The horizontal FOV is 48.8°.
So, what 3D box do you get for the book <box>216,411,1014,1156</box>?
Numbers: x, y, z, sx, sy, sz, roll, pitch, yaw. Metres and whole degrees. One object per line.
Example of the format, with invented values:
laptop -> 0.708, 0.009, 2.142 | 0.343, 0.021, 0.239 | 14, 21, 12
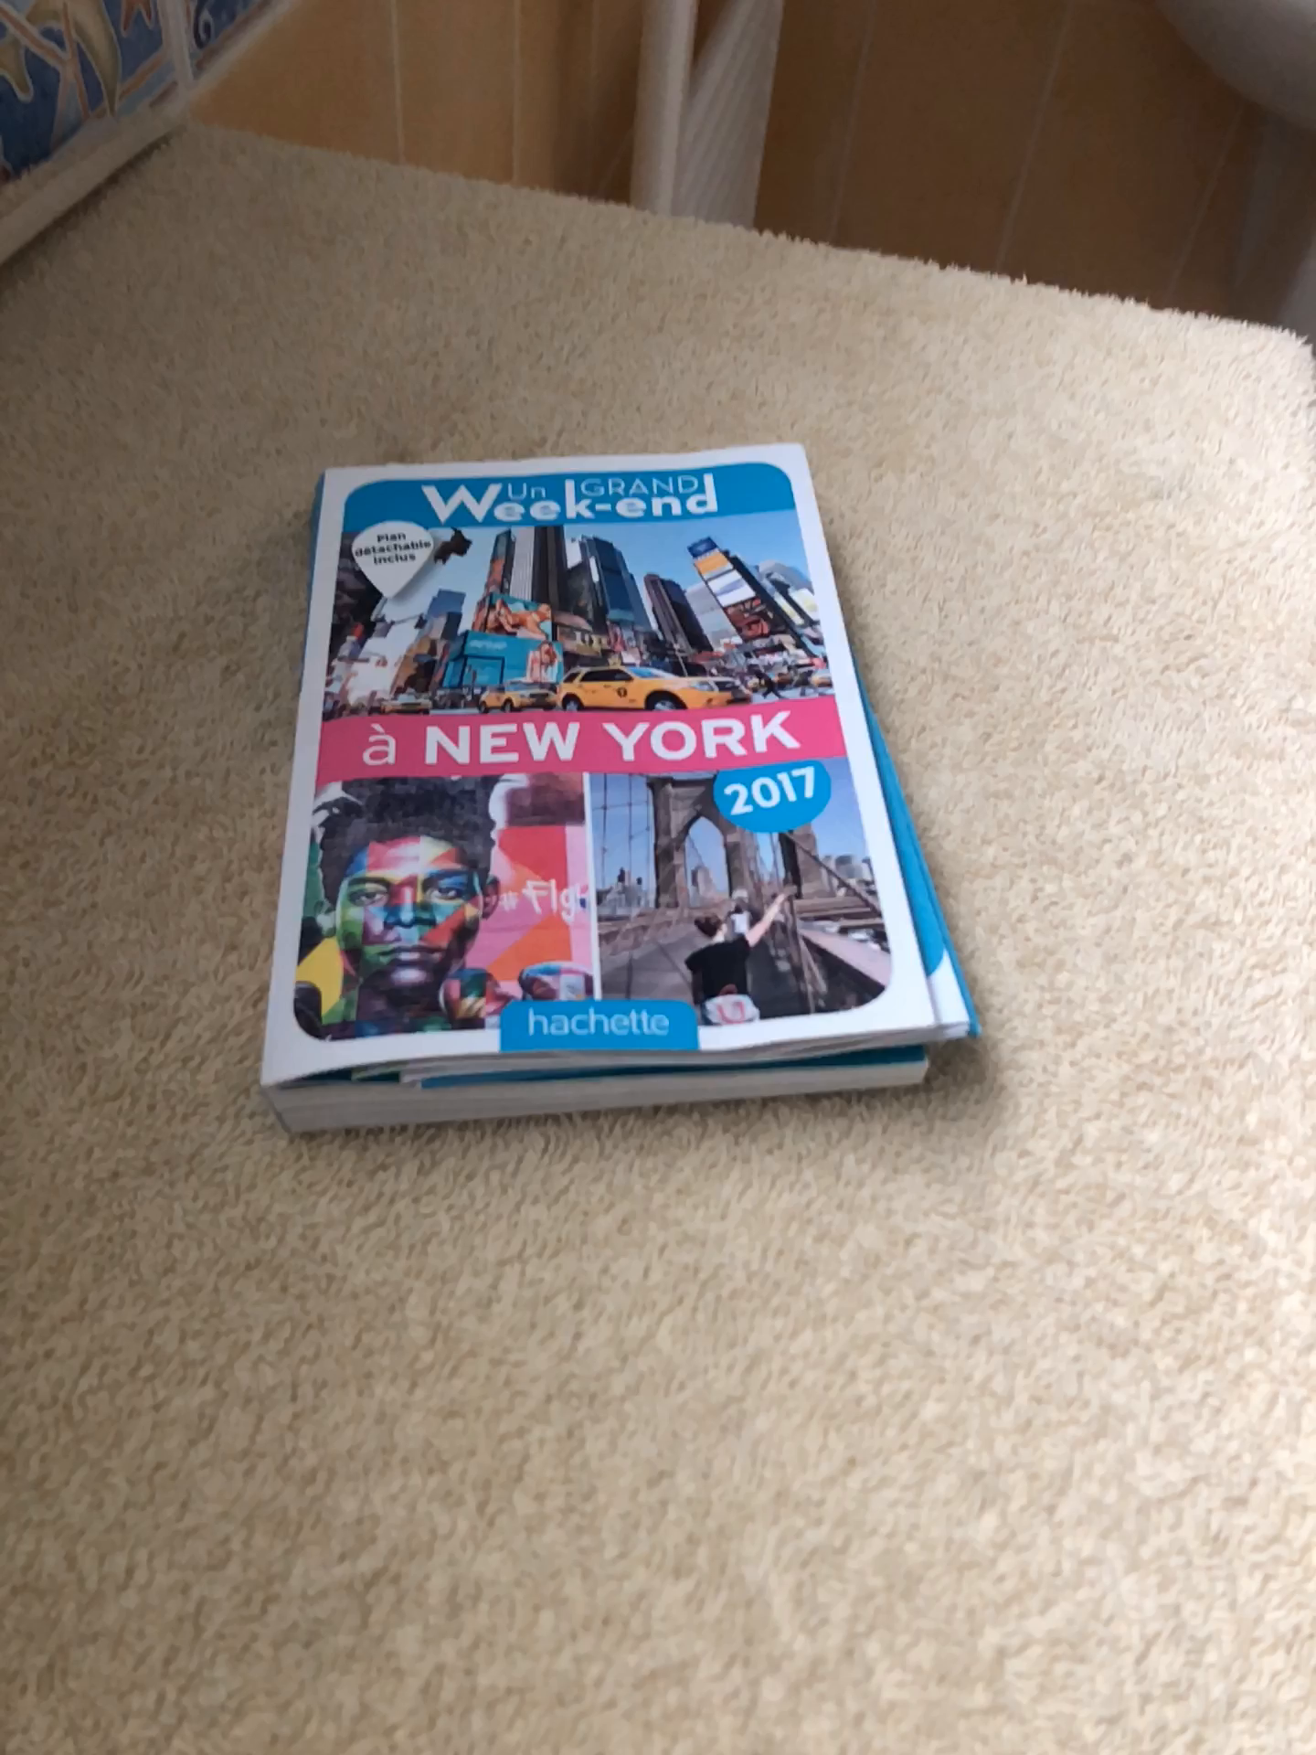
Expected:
book -> -0.012, -0.029, 0.275 | 0.120, 0.020, 0.161 | -5, 51, -2
